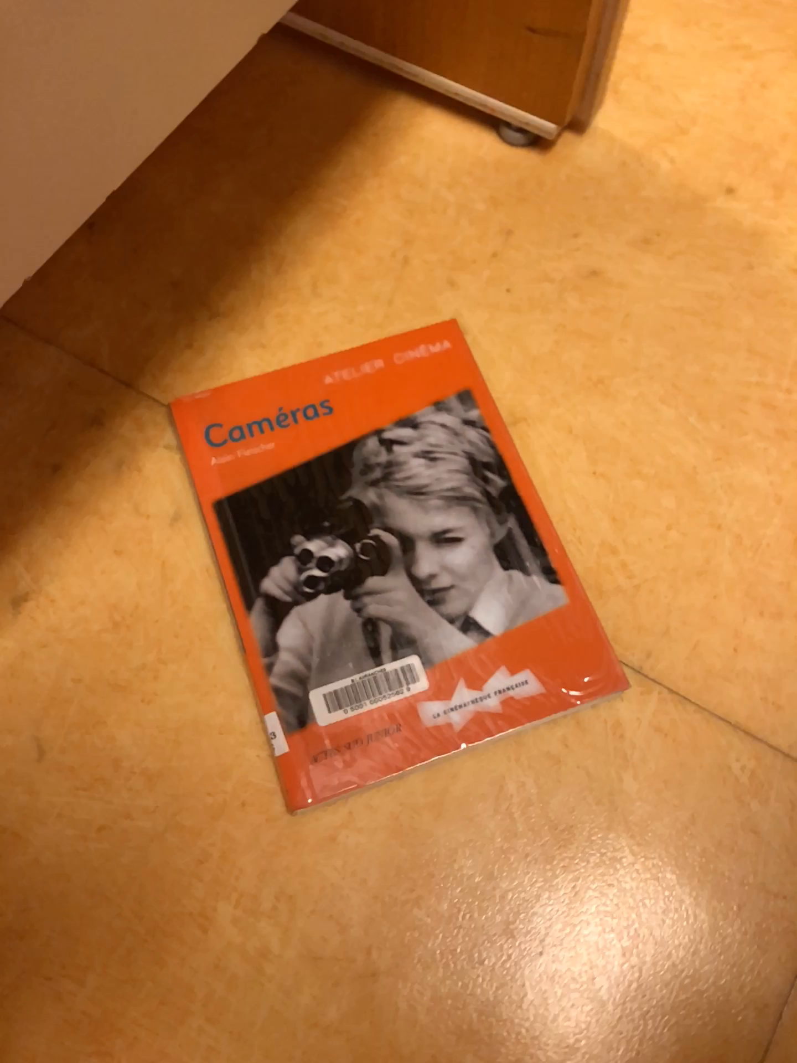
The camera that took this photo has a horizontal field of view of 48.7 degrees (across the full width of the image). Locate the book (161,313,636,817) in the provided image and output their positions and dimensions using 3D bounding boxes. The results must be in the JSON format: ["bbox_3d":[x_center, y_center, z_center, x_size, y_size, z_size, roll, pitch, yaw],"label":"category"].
[{"bbox_3d":[-0.008,0.002,0.405,0.155,0.011,0.206,-18,66,-9],"label":"book"}]
